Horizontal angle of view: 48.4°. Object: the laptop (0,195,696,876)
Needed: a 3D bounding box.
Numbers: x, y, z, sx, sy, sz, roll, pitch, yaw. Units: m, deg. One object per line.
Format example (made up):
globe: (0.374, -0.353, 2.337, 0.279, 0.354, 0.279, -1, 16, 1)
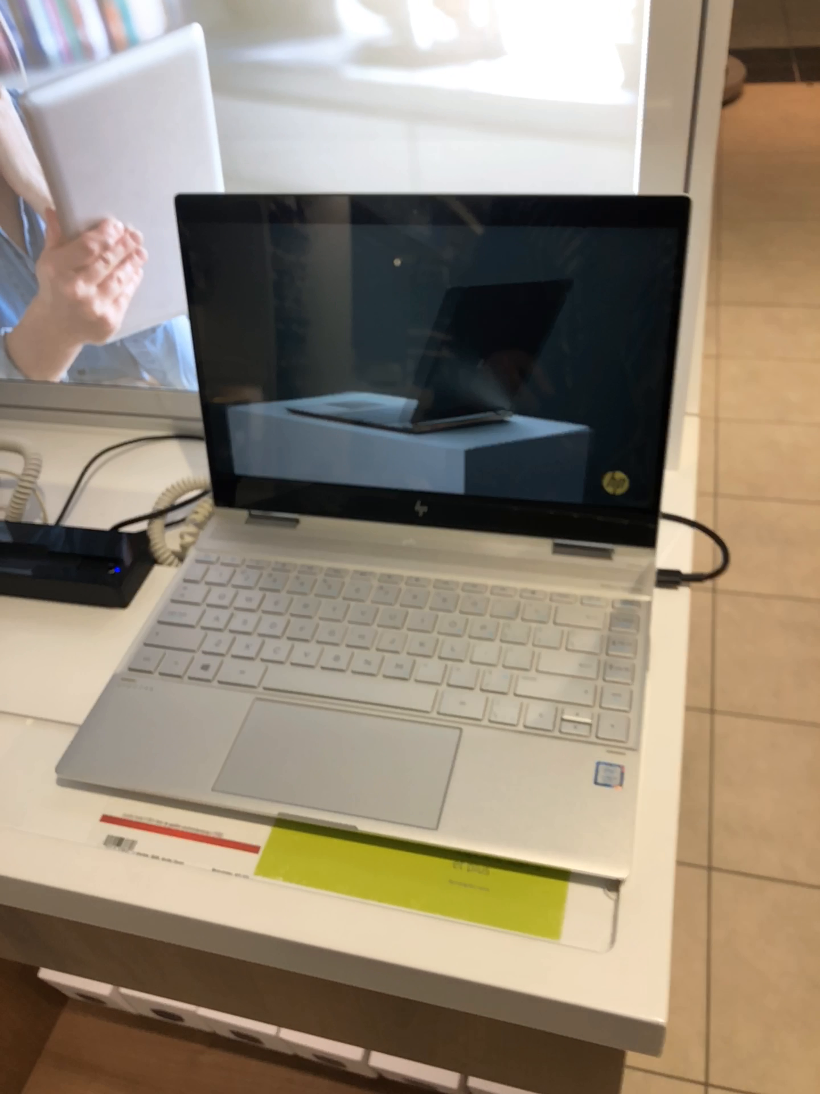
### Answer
laptop: (-0.020, -0.032, 0.486, 0.299, 0.193, 0.283, 6, 43, 15)
